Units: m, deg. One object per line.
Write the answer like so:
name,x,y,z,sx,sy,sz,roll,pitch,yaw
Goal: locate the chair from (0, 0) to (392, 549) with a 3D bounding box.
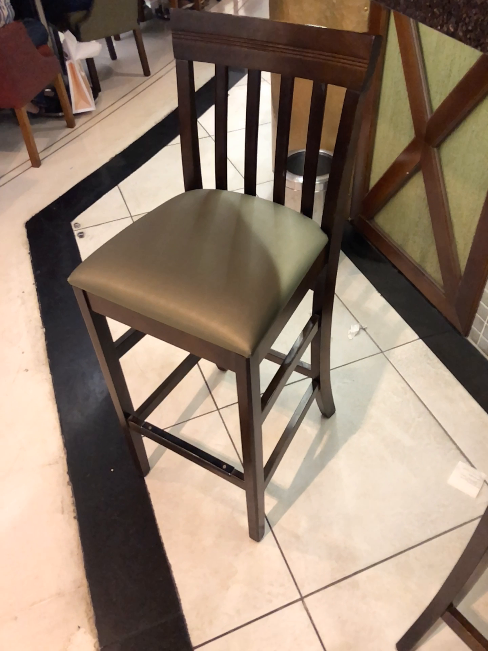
chair,-0.053,-0.048,1.186,0.461,1.033,0.493,21,50,23
